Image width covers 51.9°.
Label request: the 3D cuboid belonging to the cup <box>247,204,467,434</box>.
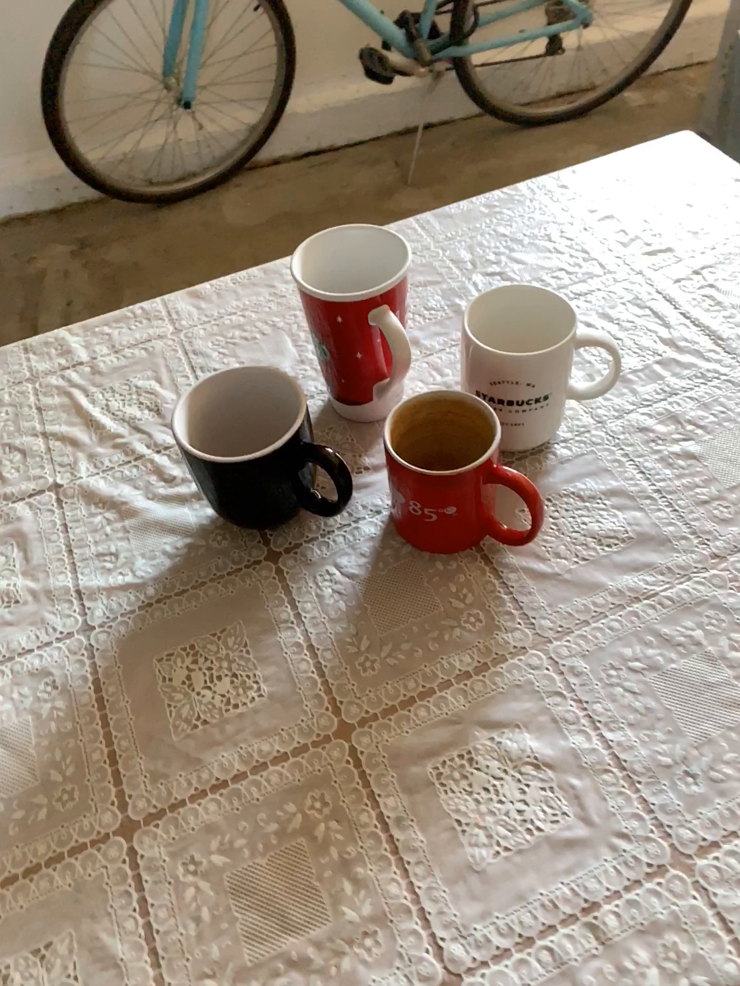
[{"bbox_3d":[-0.008,-0.140,0.599,0.100,0.090,0.141,-34,55,-19],"label":"cup"}]

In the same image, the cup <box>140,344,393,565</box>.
[{"bbox_3d":[-0.074,-0.033,0.589,0.150,0.090,0.100,18,56,20],"label":"cup"}]

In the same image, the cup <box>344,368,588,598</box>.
[{"bbox_3d":[0.064,-0.008,0.512,0.130,0.090,0.080,20,57,21],"label":"cup"}]

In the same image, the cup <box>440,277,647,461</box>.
[{"bbox_3d":[0.132,-0.098,0.593,0.140,0.090,0.100,5,53,11],"label":"cup"}]
